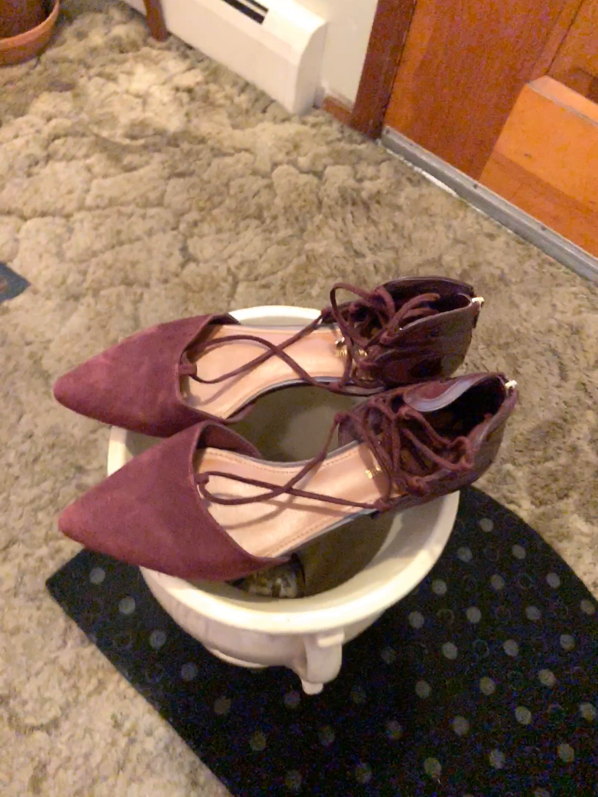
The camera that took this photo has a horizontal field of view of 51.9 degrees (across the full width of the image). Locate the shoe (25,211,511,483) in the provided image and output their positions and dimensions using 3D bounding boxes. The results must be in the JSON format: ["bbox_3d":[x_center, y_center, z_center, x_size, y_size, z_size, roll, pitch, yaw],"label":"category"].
[{"bbox_3d":[-0.023,-0.029,0.396,0.280,0.070,0.091,-13,62,4],"label":"shoe"}]

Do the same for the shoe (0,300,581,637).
[{"bbox_3d":[-0.010,0.038,0.335,0.280,0.070,0.090,-16,63,-5],"label":"shoe"}]
